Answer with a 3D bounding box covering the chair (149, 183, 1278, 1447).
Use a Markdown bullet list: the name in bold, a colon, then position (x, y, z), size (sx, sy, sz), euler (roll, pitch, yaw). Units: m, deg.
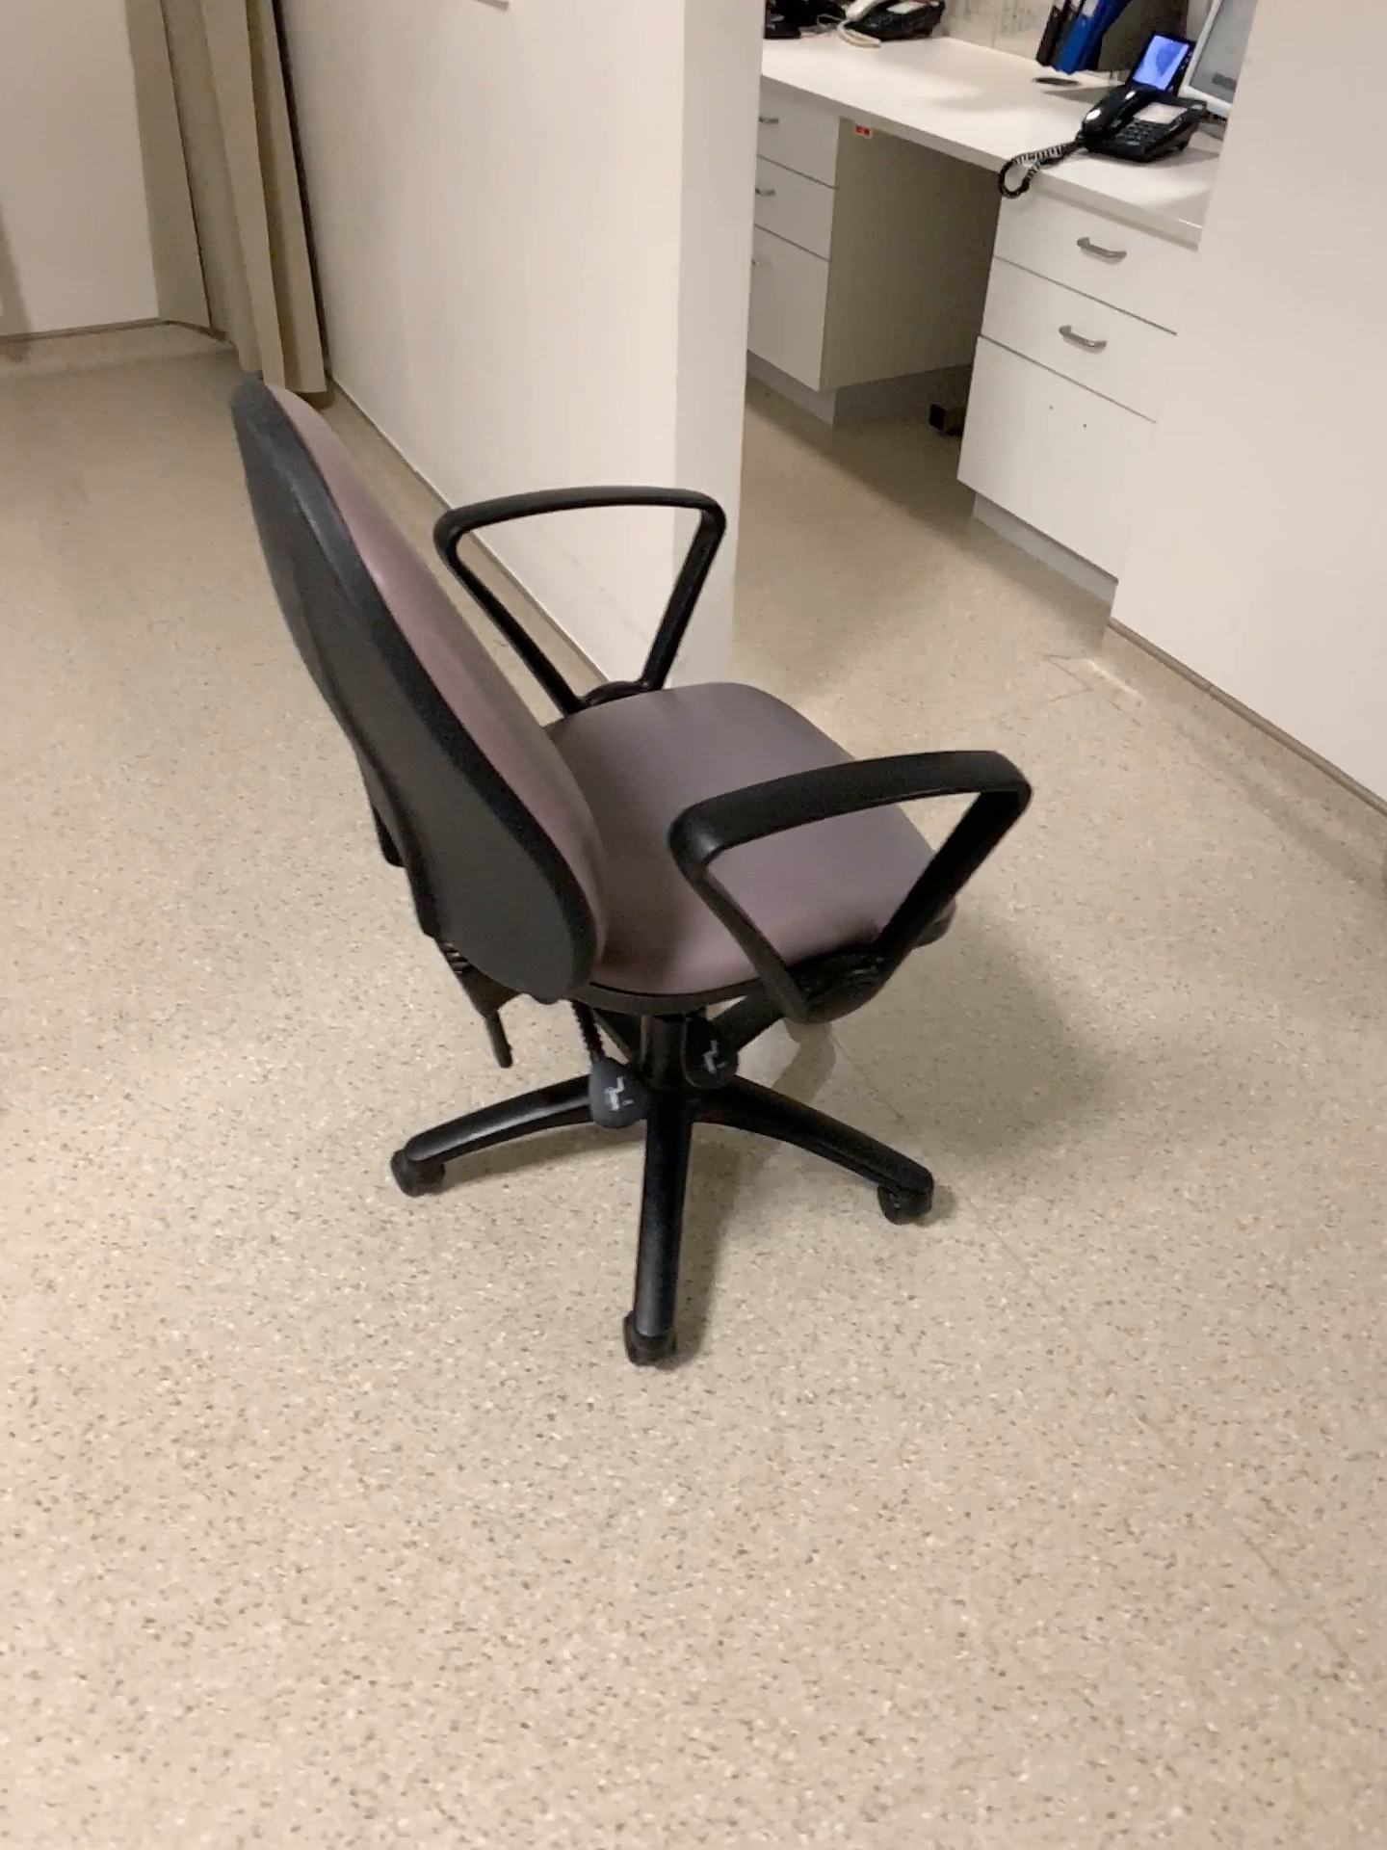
- **chair**: position (-0.033, -0.131, 1.380), size (0.655, 0.899, 0.636), euler (-18, 44, -22)
